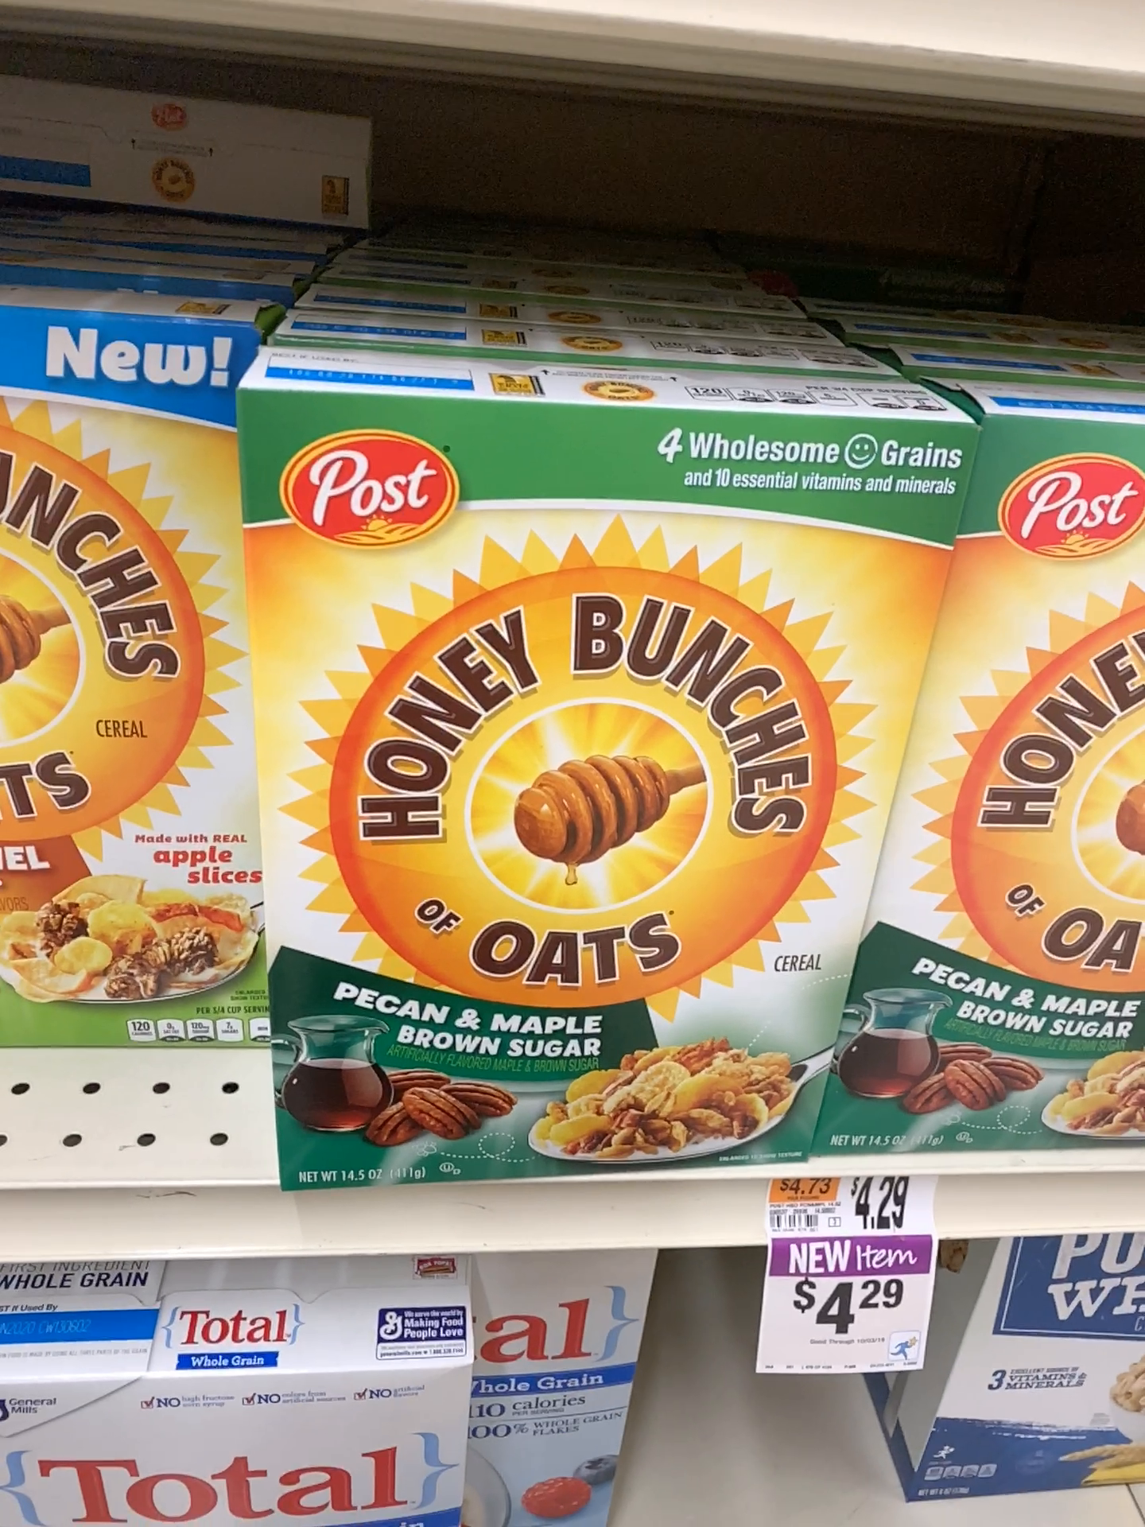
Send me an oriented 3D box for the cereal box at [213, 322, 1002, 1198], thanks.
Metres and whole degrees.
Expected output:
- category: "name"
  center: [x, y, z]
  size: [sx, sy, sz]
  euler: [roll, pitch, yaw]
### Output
- category: "cereal box"
  center: [-0.002, 0.014, 0.384]
  size: [0.200, 0.278, 0.060]
  euler: [0, 29, -10]
